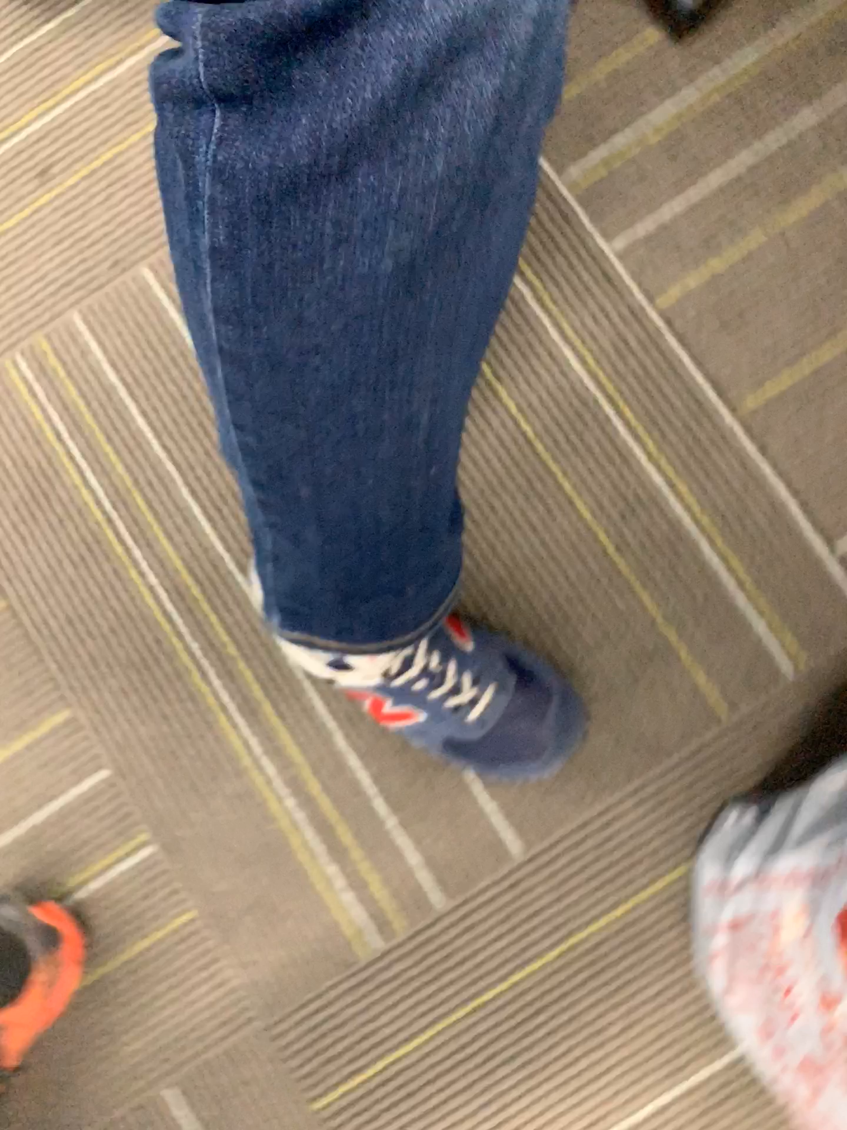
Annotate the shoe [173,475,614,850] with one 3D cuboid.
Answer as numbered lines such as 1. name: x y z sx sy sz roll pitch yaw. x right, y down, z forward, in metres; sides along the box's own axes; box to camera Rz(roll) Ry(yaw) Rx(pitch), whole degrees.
1. shoe: -0.019 0.070 0.692 0.307 0.139 0.108 34 89 7
